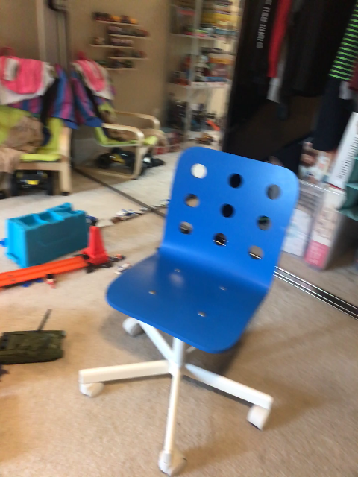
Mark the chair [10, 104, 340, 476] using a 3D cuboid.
[{"bbox_3d":[-0.010,0.119,0.886,0.520,0.705,0.363,16,29,18],"label":"chair"}]
